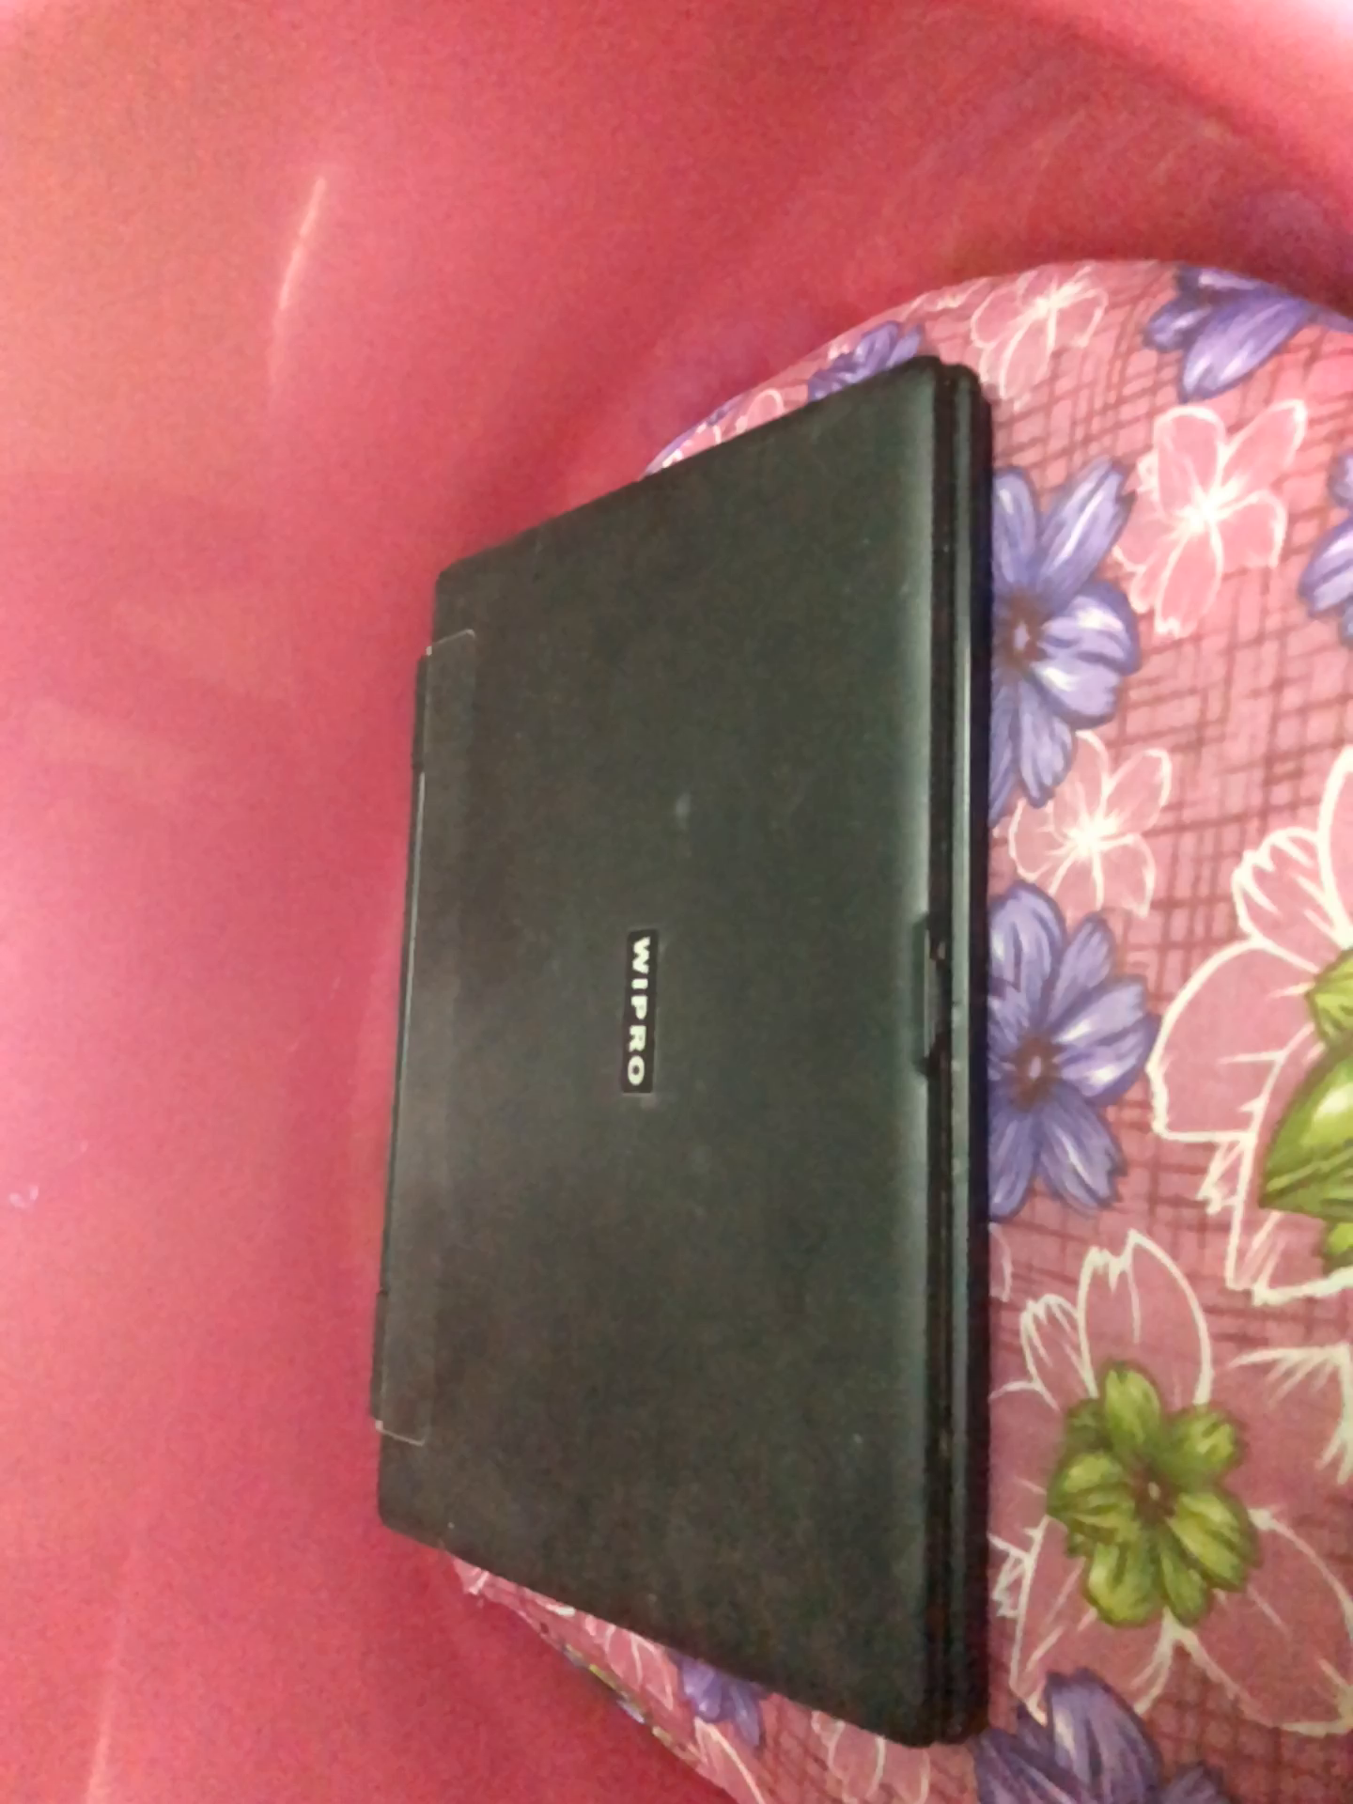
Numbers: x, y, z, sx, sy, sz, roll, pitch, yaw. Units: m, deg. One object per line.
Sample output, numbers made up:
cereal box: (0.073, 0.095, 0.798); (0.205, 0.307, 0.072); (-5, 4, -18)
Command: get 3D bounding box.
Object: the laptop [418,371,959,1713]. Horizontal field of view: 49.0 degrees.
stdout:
laptop: (-0.007, 0.033, 0.442); (0.221, 0.006, 0.322); (-7, 78, 49)
